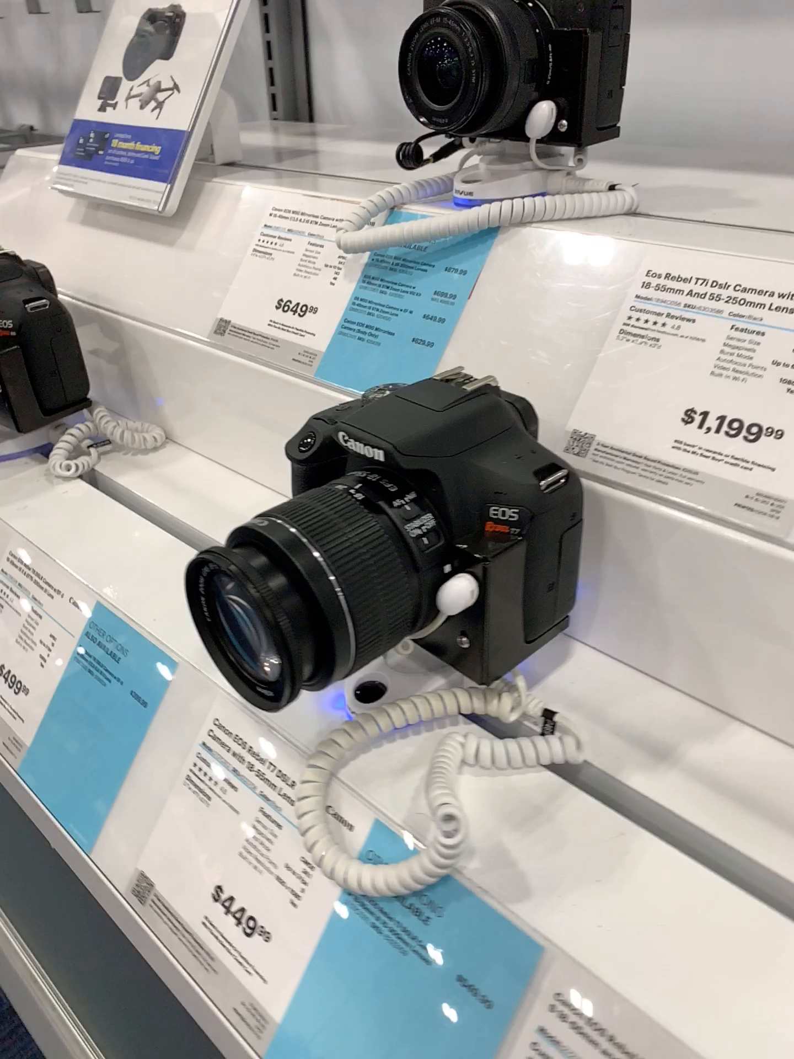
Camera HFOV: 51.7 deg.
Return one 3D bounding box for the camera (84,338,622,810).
[{"bbox_3d":[-0.011,0.000,0.323,0.130,0.090,0.150,23,39,35],"label":"camera"}]
